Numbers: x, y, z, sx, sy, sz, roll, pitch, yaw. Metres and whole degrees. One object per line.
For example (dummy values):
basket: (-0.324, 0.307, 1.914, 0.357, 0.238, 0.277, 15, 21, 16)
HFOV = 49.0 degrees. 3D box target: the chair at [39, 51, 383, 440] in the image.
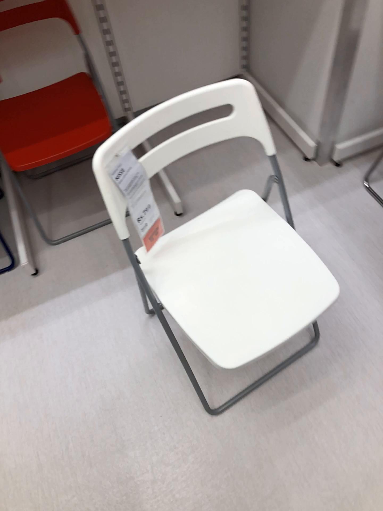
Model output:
chair: (0.075, 0.011, 1.064, 0.500, 0.667, 0.542, -31, 58, -13)
